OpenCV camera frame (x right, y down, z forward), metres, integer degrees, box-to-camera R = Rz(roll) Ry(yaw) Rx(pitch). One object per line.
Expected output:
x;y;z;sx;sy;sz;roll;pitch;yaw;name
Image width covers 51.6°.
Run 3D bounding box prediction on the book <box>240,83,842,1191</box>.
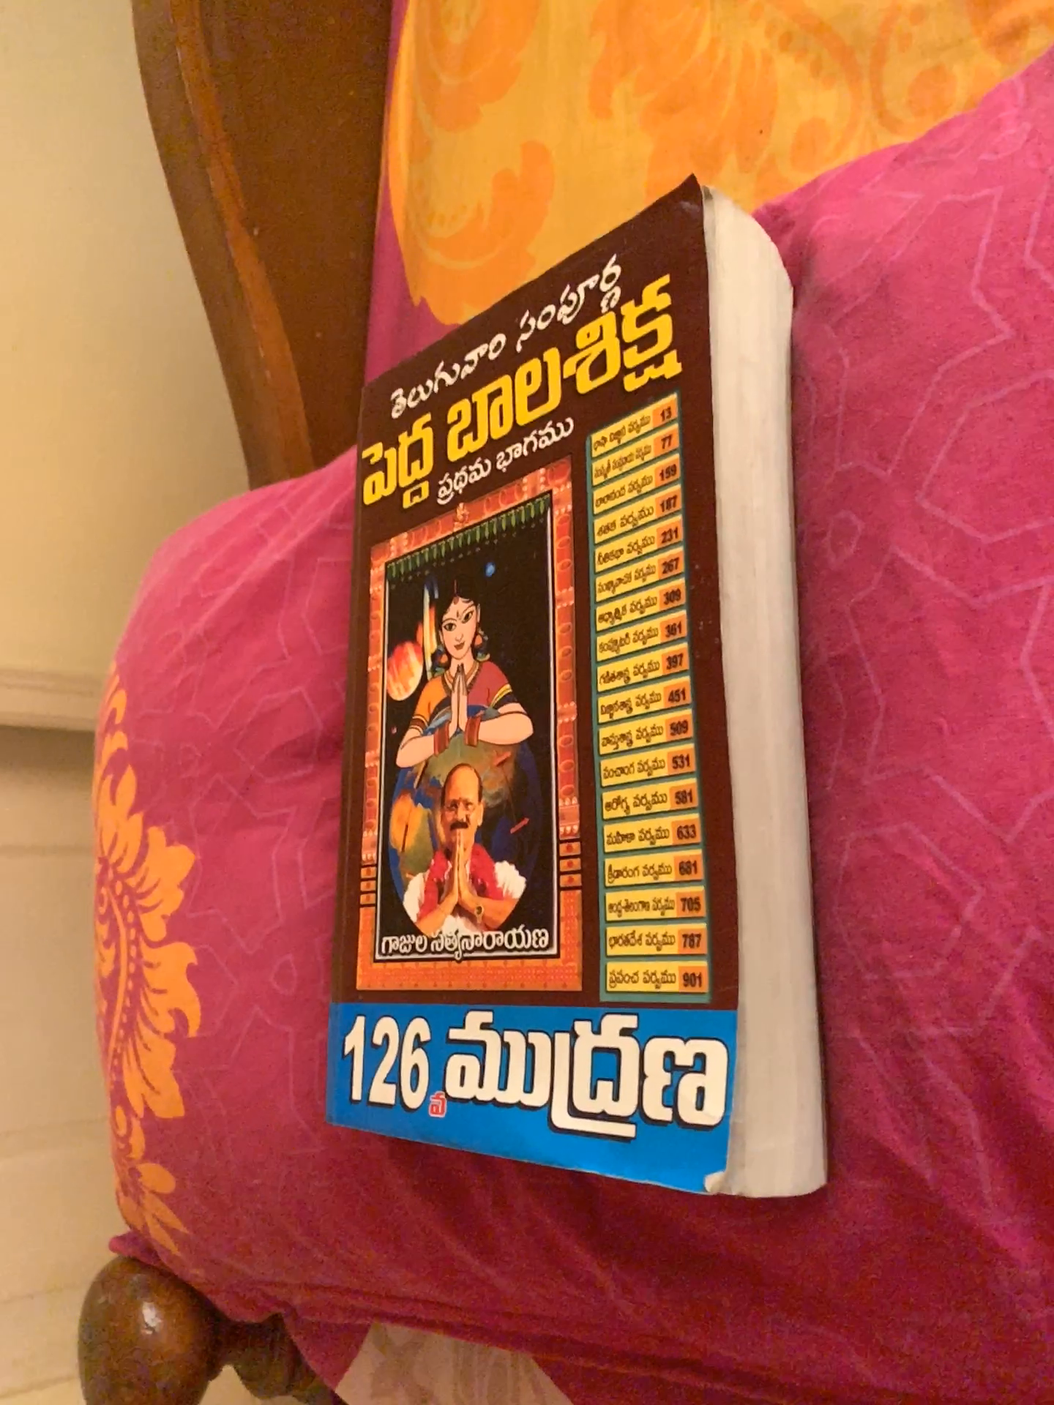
-0.006;-0.012;0.325;0.181;0.050;0.260;-14;69;46;book
